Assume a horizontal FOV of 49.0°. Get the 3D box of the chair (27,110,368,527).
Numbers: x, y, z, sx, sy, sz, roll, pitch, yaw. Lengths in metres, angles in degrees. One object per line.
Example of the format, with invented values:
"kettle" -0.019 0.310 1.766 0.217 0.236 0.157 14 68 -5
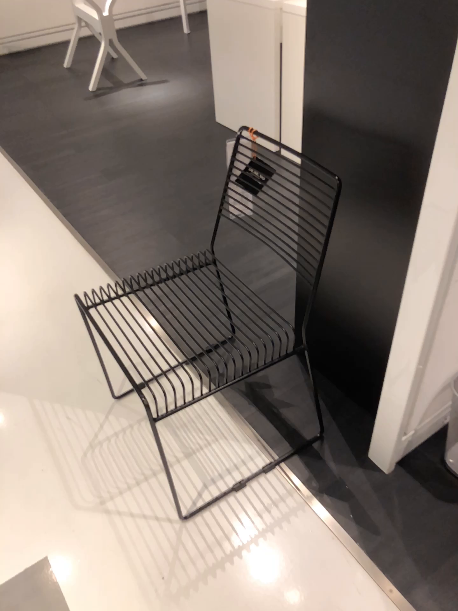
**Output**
"chair" -0.066 0.025 1.266 0.501 0.764 0.523 -25 45 -22
